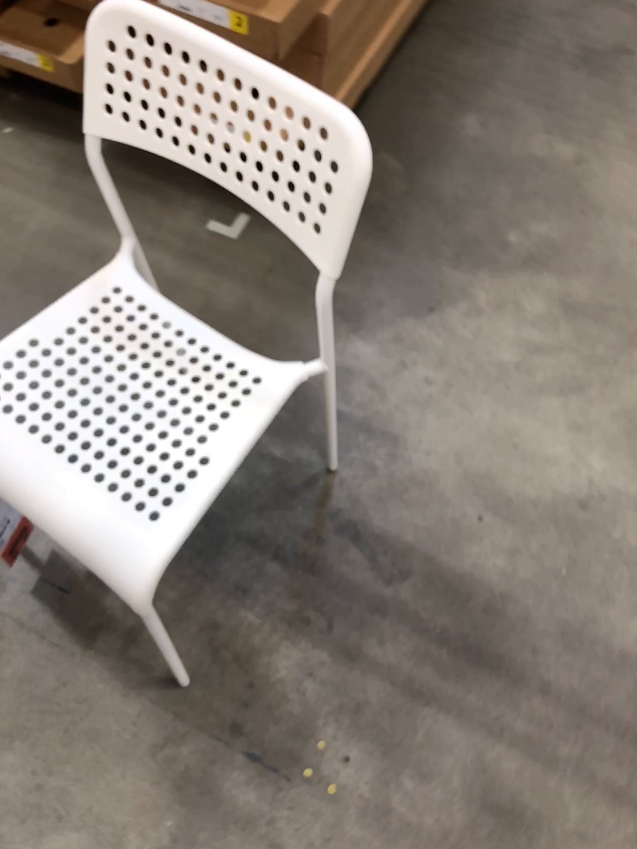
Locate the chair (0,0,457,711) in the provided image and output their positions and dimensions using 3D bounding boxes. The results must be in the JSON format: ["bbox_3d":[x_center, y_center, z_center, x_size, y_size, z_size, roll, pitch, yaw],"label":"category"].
[{"bbox_3d":[-0.227,-0.044,0.900,0.460,0.699,0.511,34,66,15],"label":"chair"}]
